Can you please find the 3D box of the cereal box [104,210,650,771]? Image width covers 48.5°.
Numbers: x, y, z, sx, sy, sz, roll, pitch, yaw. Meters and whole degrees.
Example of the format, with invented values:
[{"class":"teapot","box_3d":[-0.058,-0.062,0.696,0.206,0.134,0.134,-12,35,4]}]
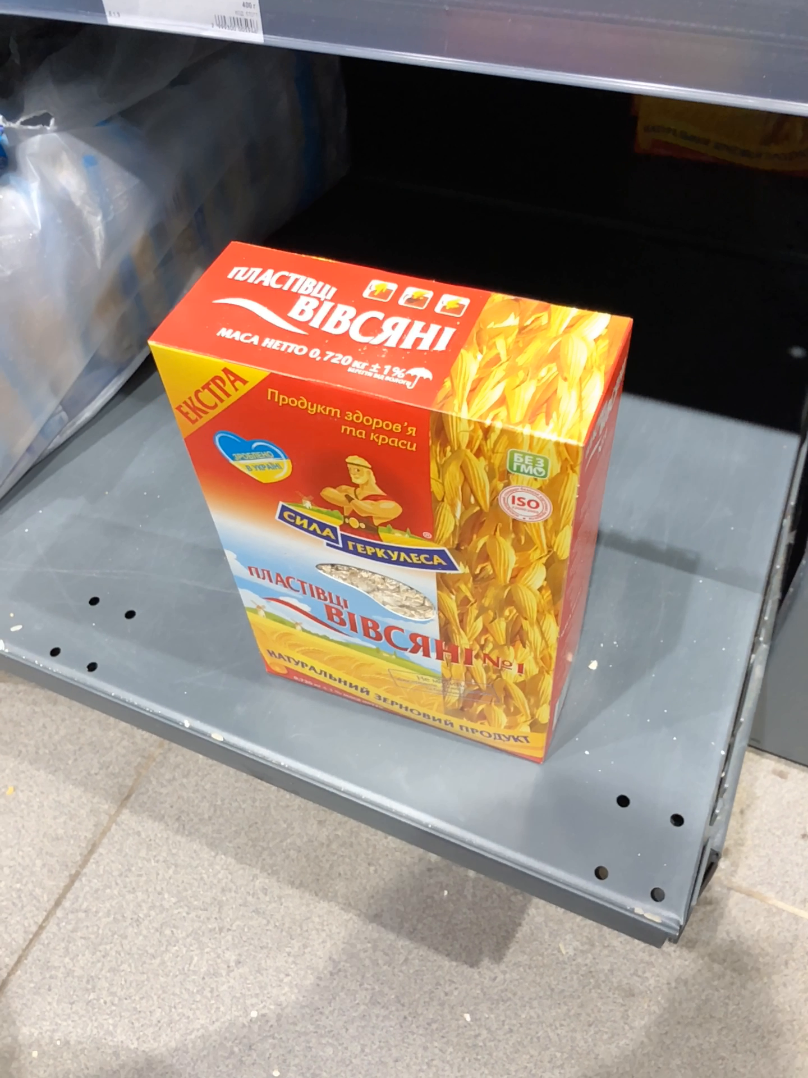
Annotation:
[{"class":"cereal box","box_3d":[-0.003,-0.008,0.366,0.160,0.208,0.070,15,53,16]}]
